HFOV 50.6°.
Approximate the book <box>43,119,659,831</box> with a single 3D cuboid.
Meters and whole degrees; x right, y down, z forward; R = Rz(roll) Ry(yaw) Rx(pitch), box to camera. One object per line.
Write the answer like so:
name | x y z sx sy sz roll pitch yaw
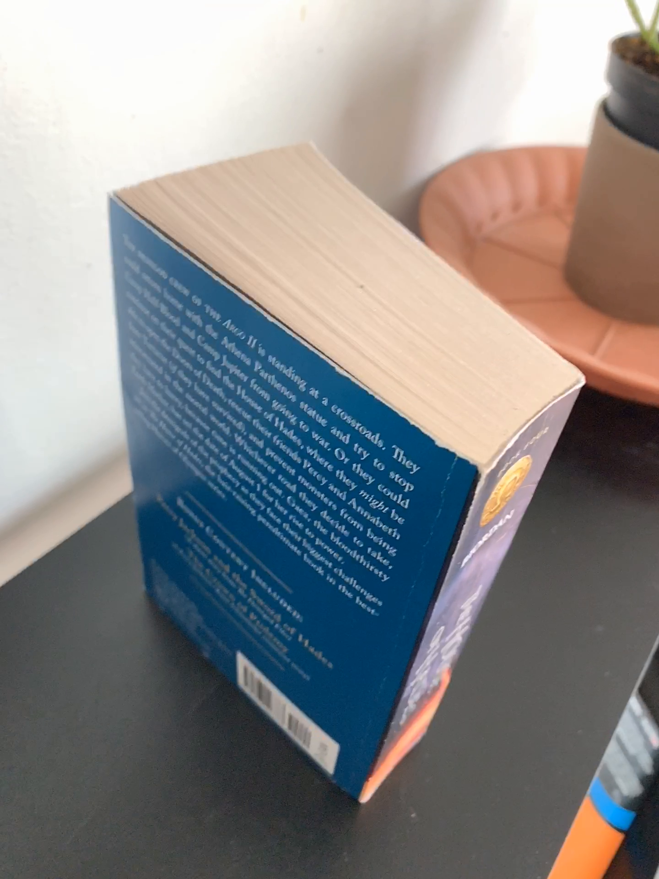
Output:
book | -0.003 0.015 0.232 0.145 0.176 0.078 35 51 27
